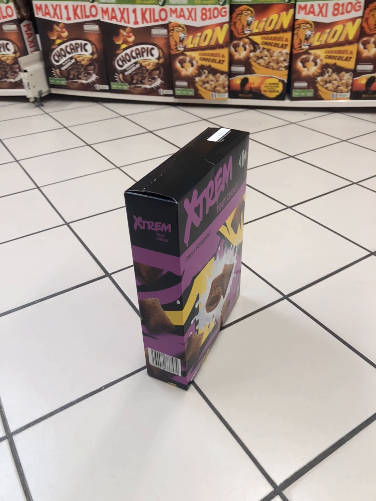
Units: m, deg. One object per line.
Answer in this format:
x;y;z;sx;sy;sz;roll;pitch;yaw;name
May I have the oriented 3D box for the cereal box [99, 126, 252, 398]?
0.002;0.006;0.484;0.070;0.239;0.201;14;36;22;cereal box
